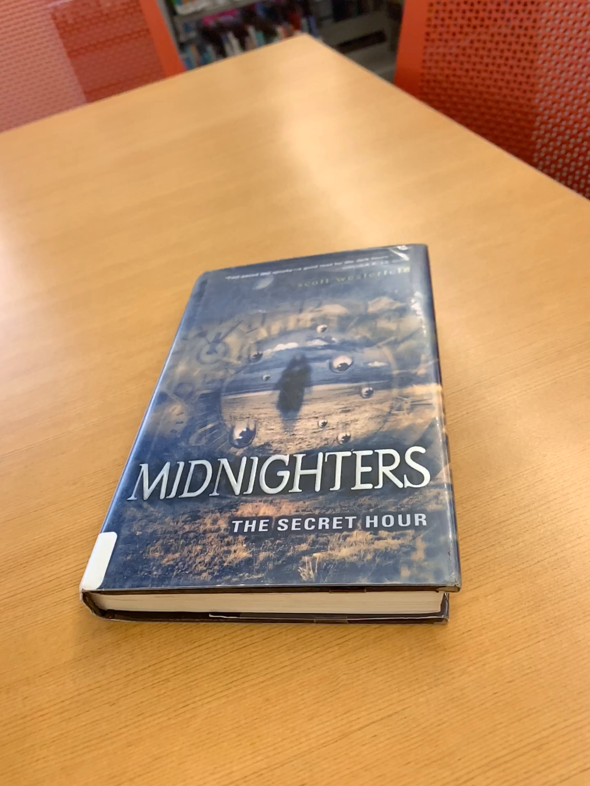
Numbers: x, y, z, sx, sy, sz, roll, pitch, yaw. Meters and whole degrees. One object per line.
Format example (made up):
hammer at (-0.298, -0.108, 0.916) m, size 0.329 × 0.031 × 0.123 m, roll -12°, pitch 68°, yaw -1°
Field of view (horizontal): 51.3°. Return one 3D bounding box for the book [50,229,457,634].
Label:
book at (-0.006, 0.003, 0.308) m, size 0.151 × 0.036 × 0.221 m, roll -4°, pitch 45°, yaw 13°
